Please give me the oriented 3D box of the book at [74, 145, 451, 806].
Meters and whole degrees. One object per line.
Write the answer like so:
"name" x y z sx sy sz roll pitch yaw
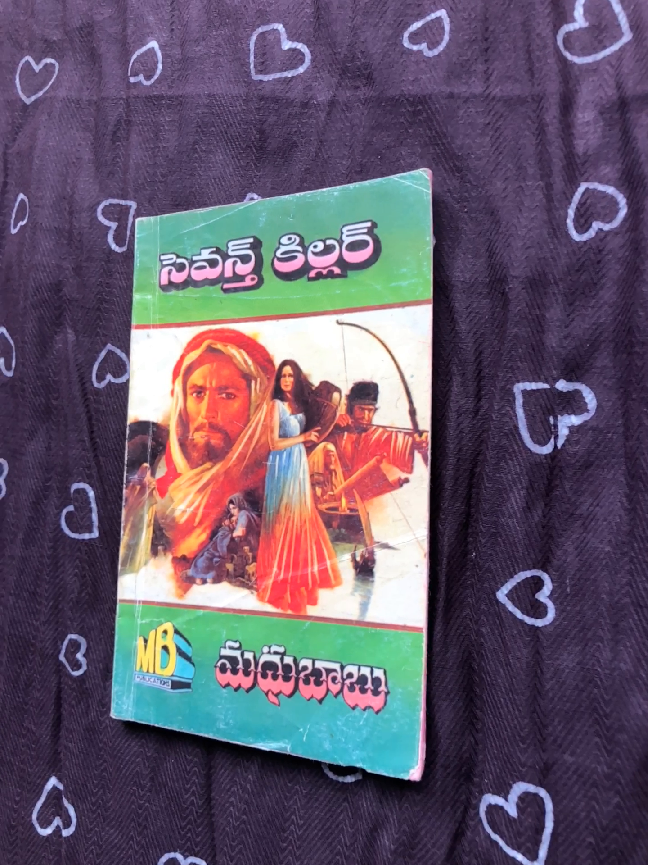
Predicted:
"book" -0.019 0.008 0.189 0.100 0.010 0.150 0 86 24
